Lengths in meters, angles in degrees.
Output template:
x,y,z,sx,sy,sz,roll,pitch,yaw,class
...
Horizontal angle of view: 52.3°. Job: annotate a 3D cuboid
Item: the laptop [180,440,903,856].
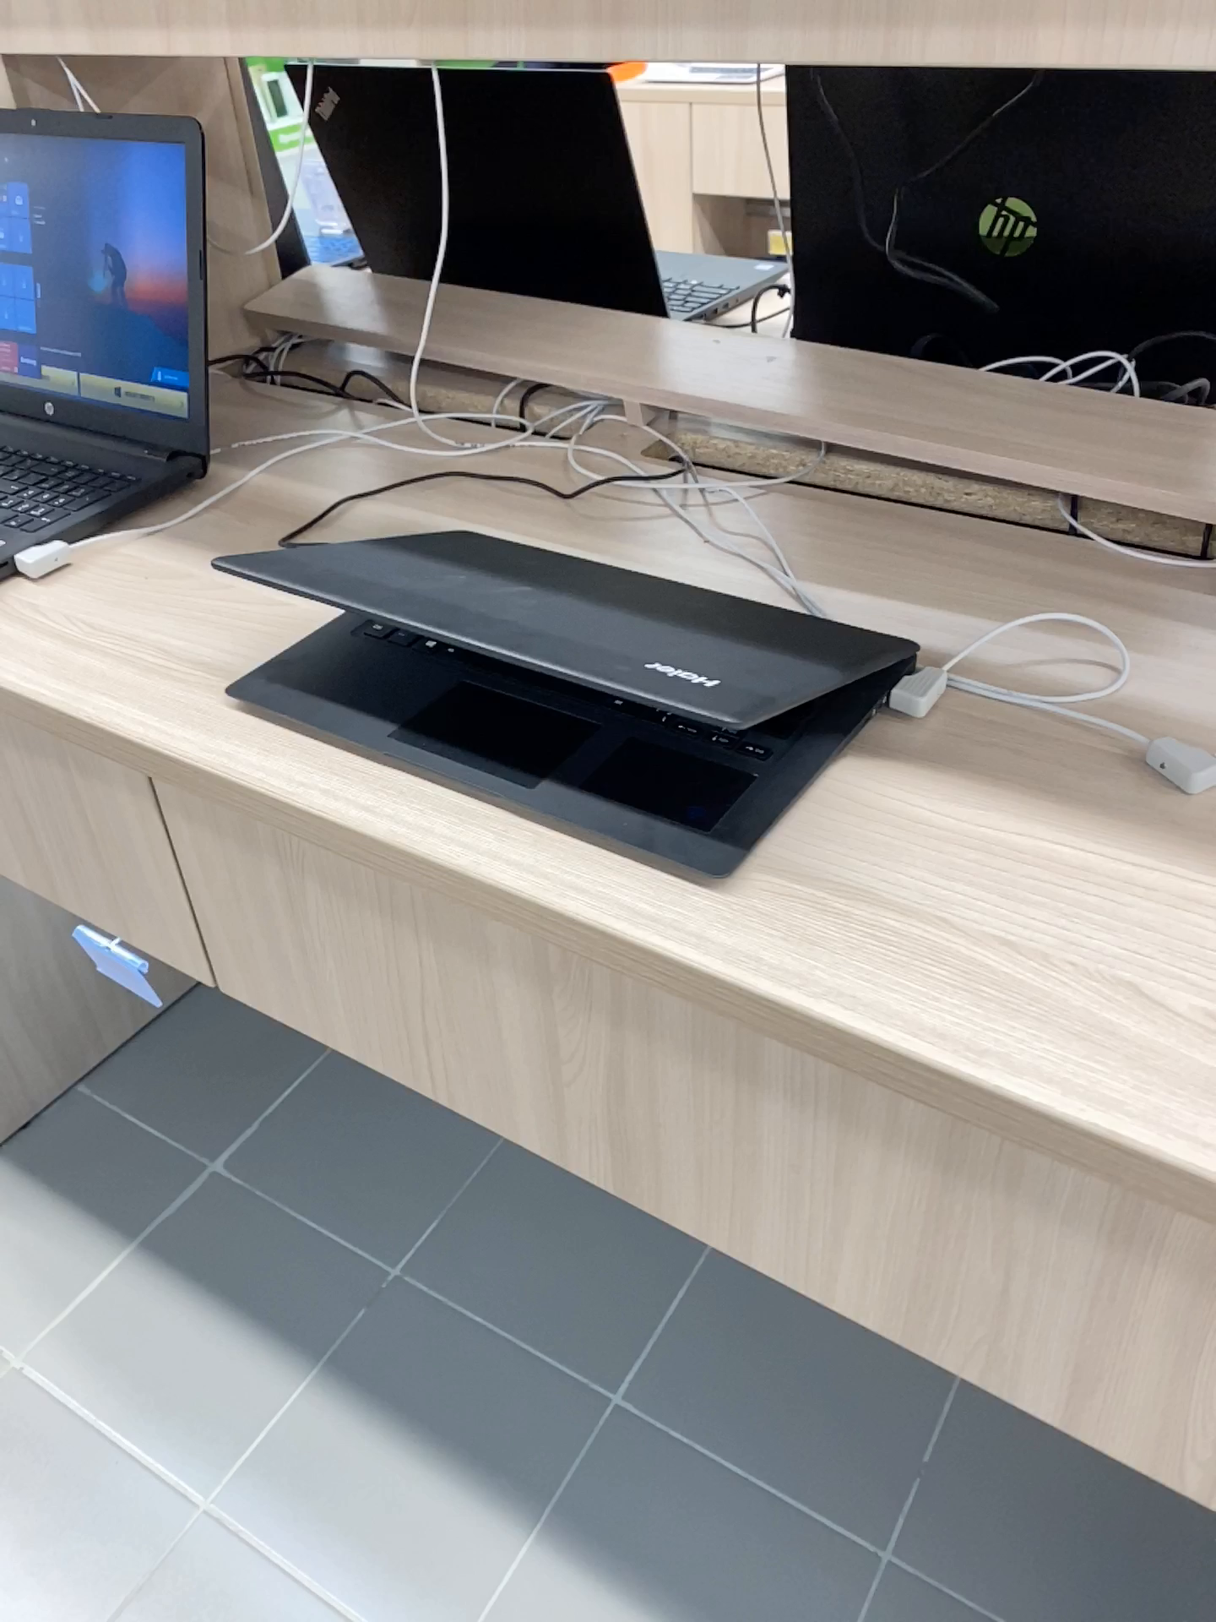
x,y,z,sx,sy,sz,roll,pitch,yaw,class
-0.036,-0.108,0.668,0.320,0.071,0.202,19,43,29,laptop
